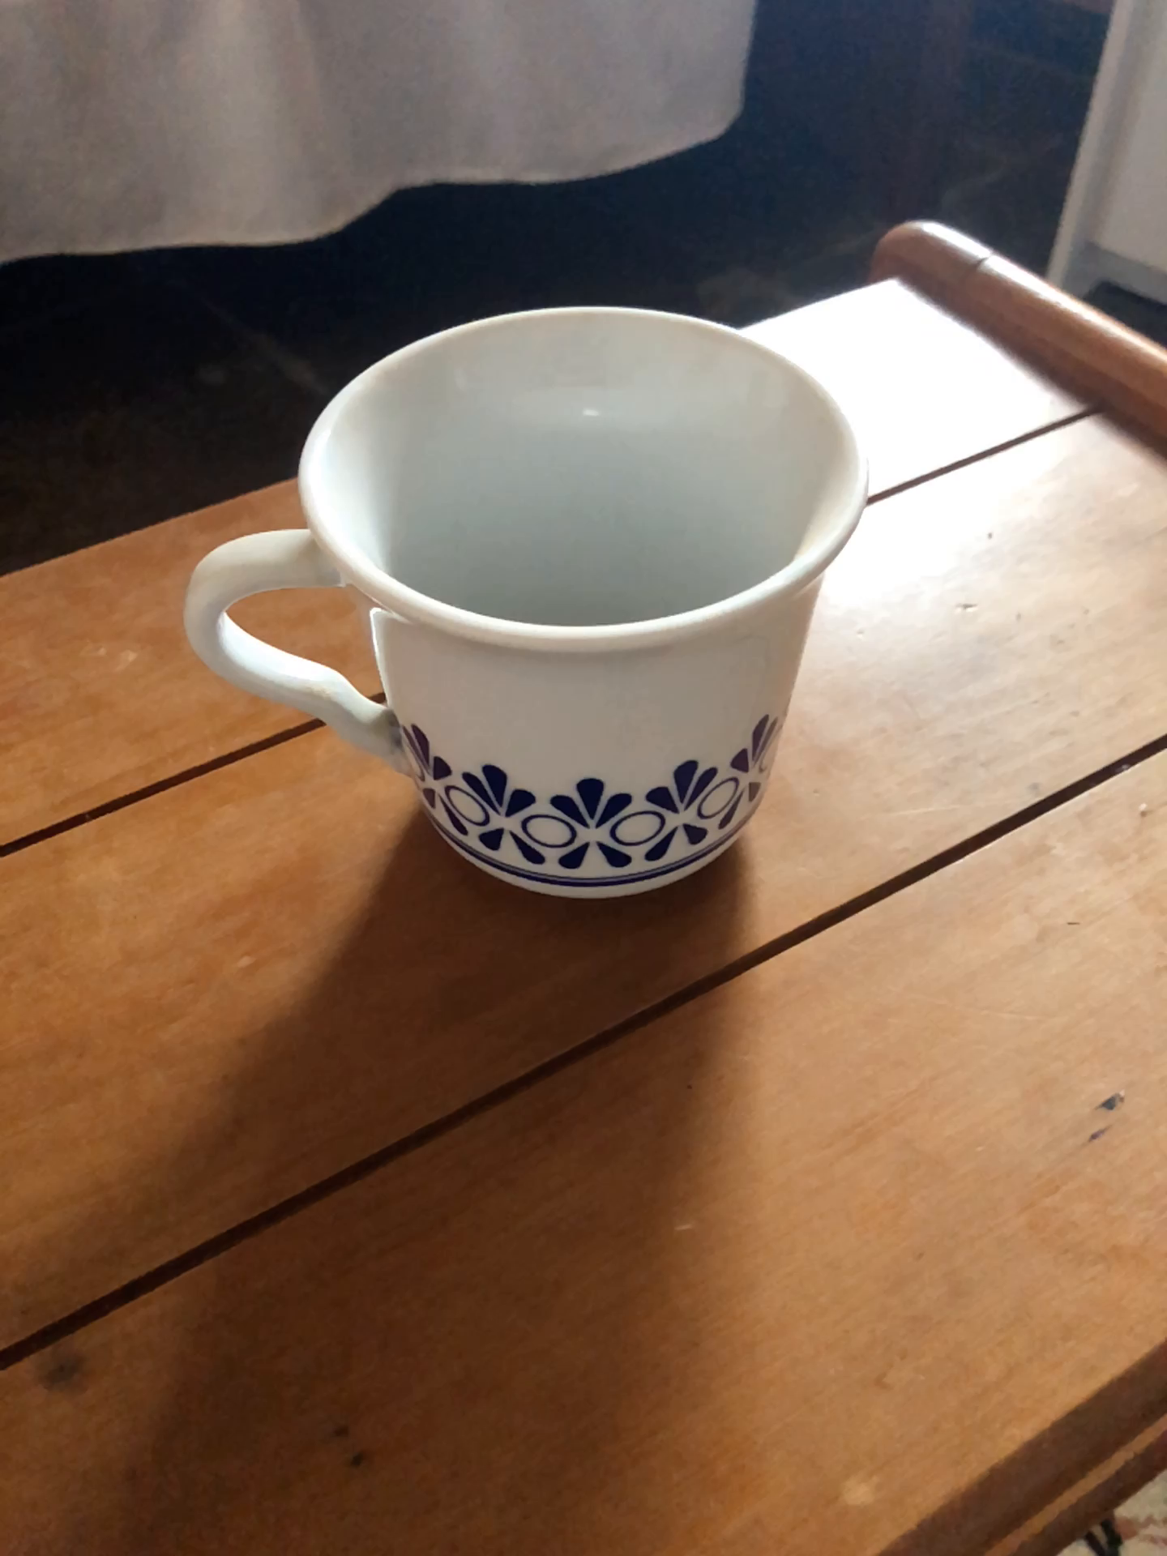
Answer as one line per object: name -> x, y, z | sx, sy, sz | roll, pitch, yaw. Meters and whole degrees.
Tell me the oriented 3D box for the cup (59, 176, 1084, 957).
cup -> -0.005, -0.040, 0.227 | 0.130, 0.079, 0.101 | -5, 48, -4
